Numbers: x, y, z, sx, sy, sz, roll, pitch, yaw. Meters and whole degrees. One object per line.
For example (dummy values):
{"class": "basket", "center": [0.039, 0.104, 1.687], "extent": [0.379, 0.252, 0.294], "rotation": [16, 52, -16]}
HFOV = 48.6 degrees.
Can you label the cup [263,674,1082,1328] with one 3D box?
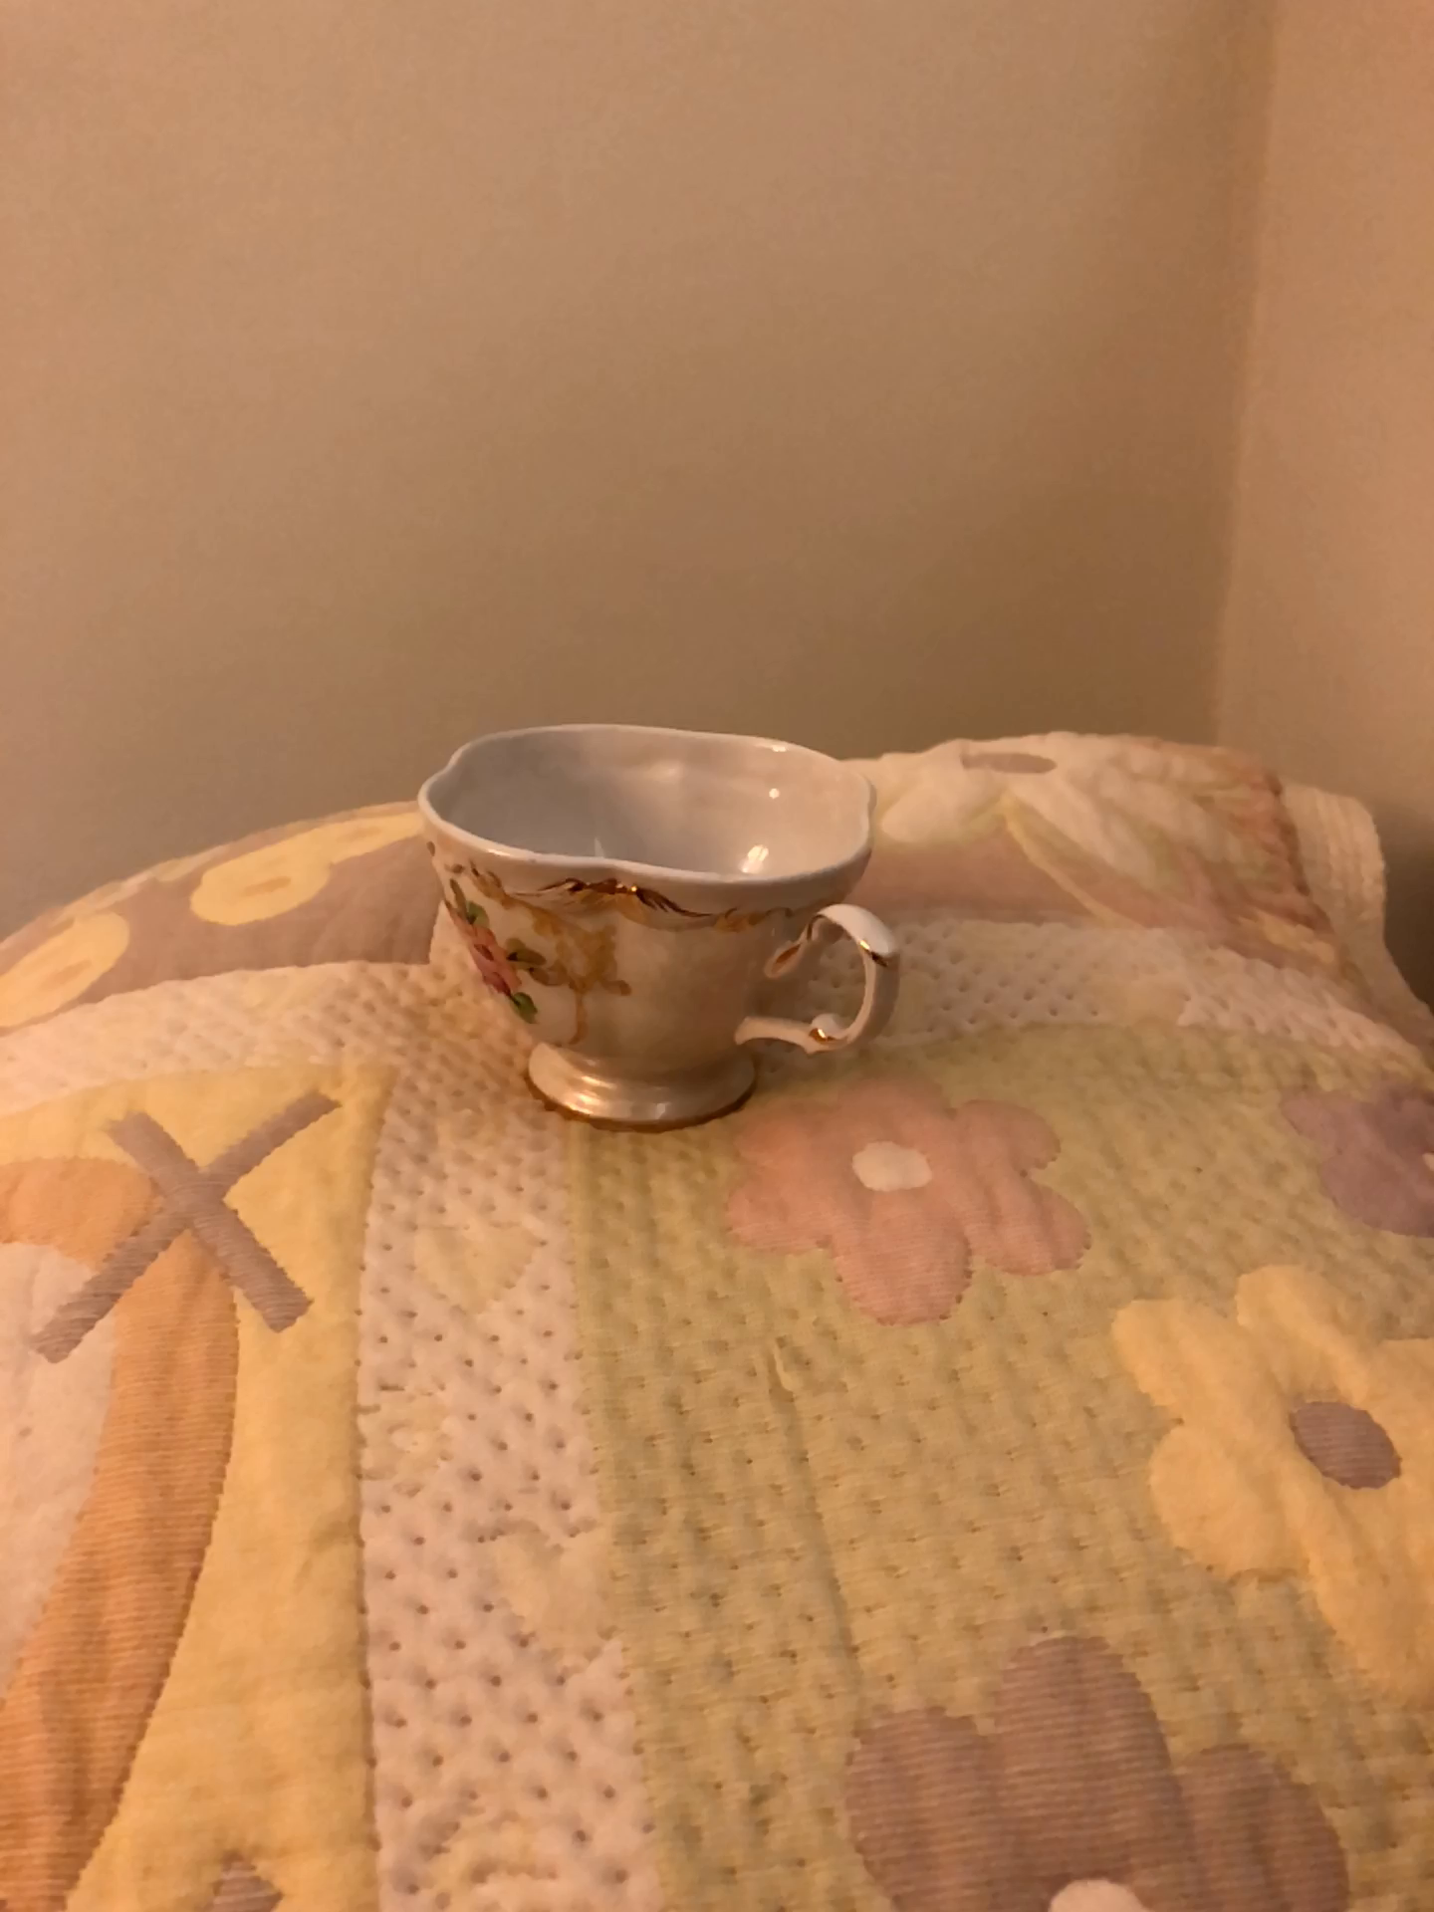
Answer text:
{"class": "cup", "center": [-0.015, -0.004, 0.335], "extent": [0.100, 0.070, 0.141], "rotation": [-16, 30, -38]}
